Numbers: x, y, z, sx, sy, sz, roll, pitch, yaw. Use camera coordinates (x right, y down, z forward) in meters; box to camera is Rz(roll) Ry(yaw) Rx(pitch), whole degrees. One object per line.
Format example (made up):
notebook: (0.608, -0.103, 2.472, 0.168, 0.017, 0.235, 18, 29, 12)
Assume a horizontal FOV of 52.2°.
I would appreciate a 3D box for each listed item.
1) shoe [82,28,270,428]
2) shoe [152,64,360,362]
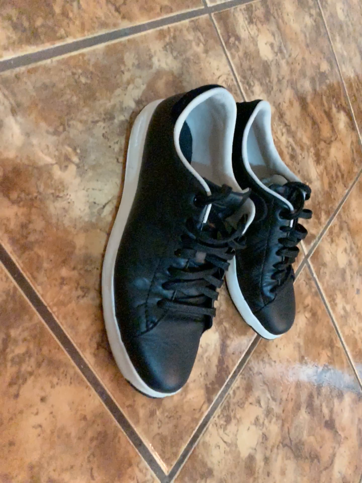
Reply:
shoe: (0.003, -0.010, 0.288, 0.088, 0.093, 0.255, 17, 71, -42)
shoe: (0.079, -0.023, 0.367, 0.090, 0.103, 0.255, -29, 103, -44)
